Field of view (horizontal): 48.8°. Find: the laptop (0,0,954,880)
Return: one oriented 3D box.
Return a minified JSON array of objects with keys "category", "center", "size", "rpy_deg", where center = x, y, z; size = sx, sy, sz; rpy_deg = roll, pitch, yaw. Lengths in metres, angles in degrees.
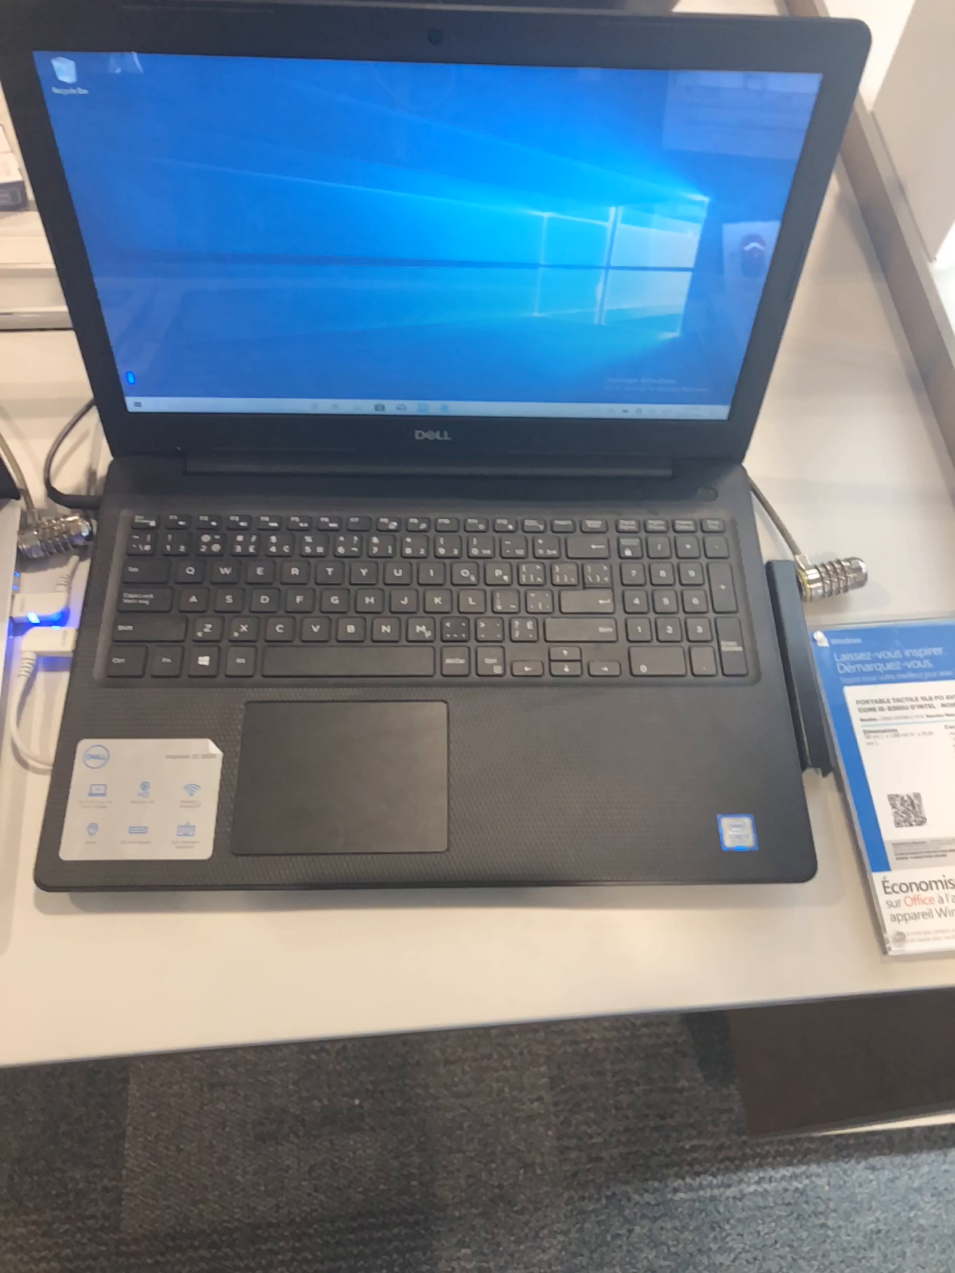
[{"category":"laptop","center":[-0.022,-0.076,0.477],"size":[0.368,0.231,0.310],"rpy_deg":[0,62,-3]}]
